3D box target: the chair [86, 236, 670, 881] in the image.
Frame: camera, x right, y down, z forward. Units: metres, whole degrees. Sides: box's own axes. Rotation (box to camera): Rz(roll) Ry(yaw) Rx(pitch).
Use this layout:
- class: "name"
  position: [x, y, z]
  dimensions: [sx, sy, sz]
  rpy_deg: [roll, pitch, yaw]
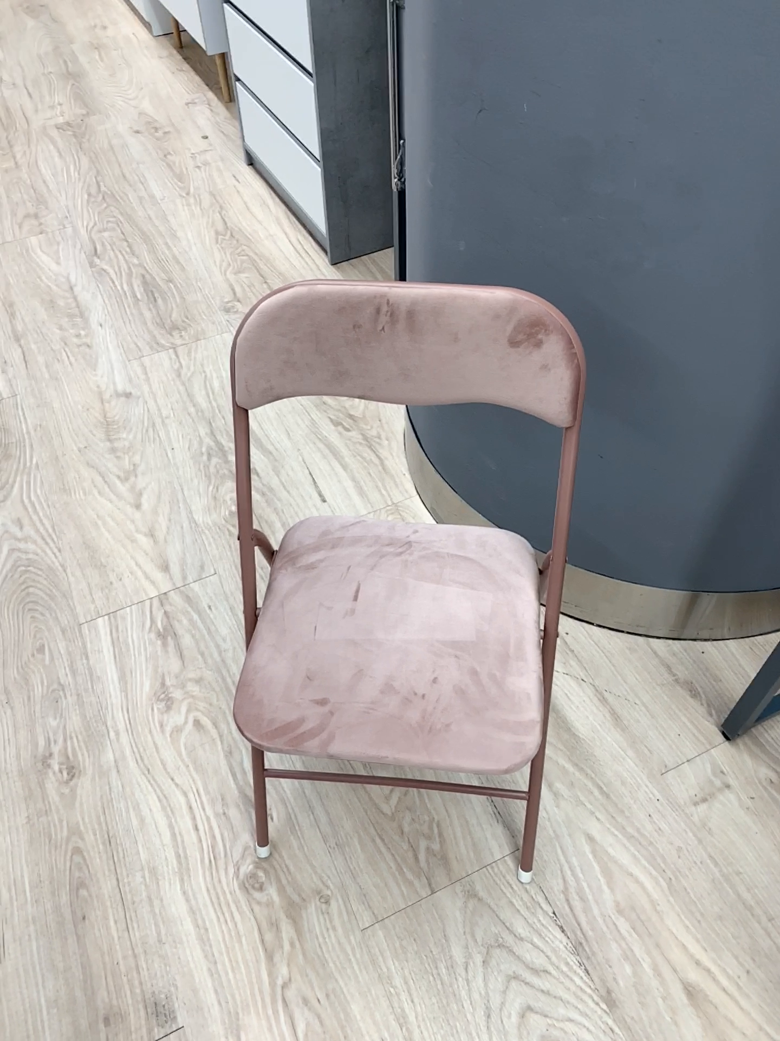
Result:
- class: "chair"
  position: [0.007, 0.110, 1.084]
  dimensions: [0.460, 0.797, 0.482]
  rpy_deg: [2, 51, 3]
